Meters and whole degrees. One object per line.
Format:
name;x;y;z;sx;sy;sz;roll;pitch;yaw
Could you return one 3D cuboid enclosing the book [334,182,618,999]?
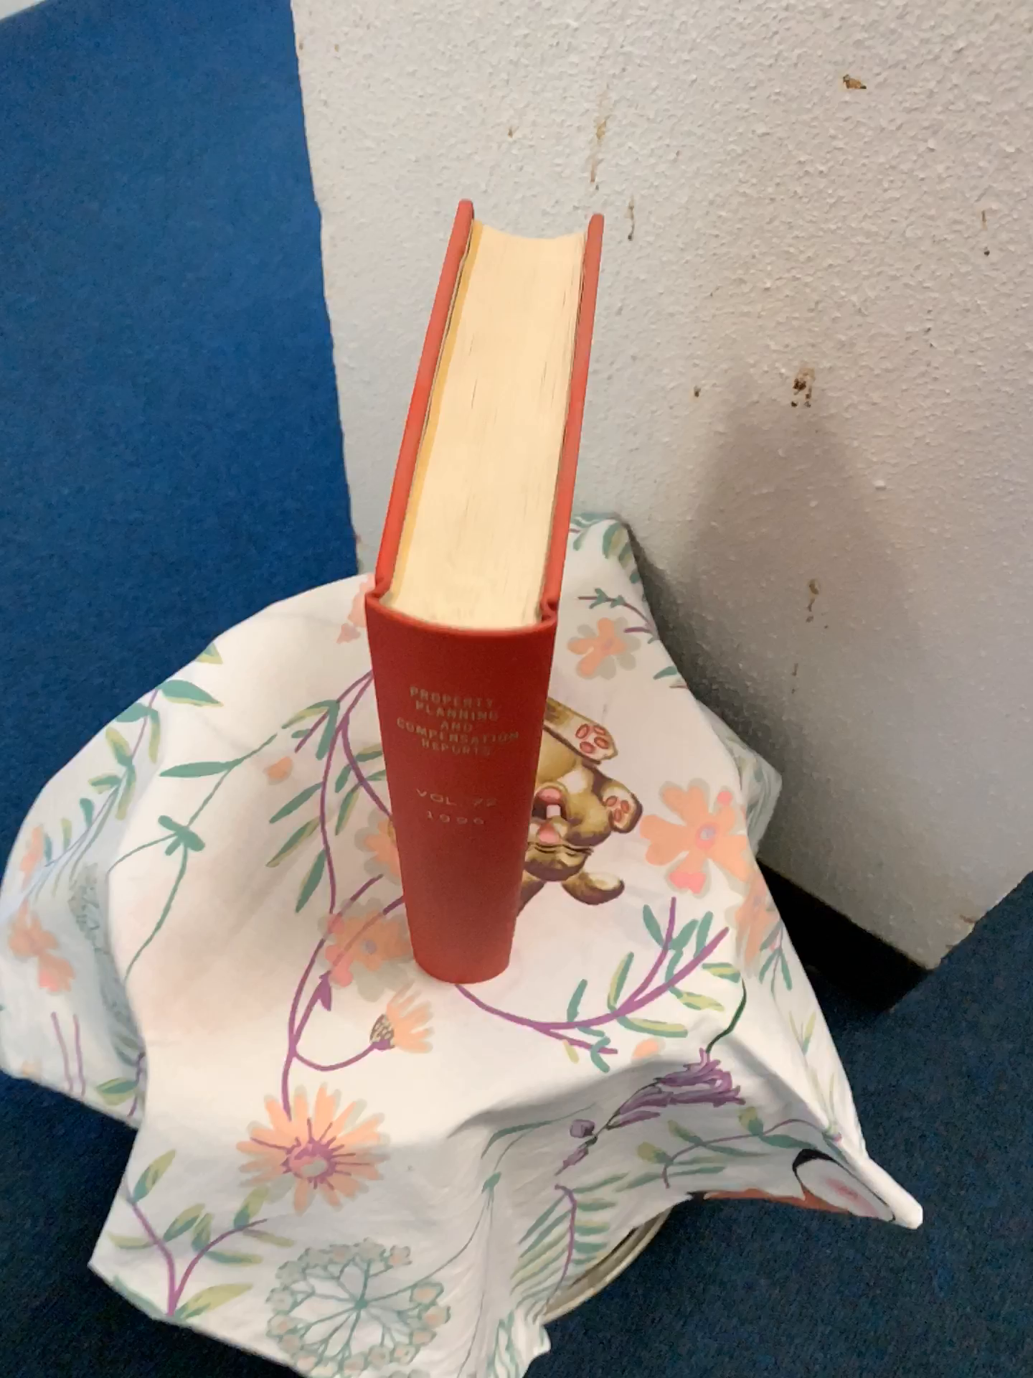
book;-0.008;-0.014;0.380;0.050;0.246;0.169;7;56;3
